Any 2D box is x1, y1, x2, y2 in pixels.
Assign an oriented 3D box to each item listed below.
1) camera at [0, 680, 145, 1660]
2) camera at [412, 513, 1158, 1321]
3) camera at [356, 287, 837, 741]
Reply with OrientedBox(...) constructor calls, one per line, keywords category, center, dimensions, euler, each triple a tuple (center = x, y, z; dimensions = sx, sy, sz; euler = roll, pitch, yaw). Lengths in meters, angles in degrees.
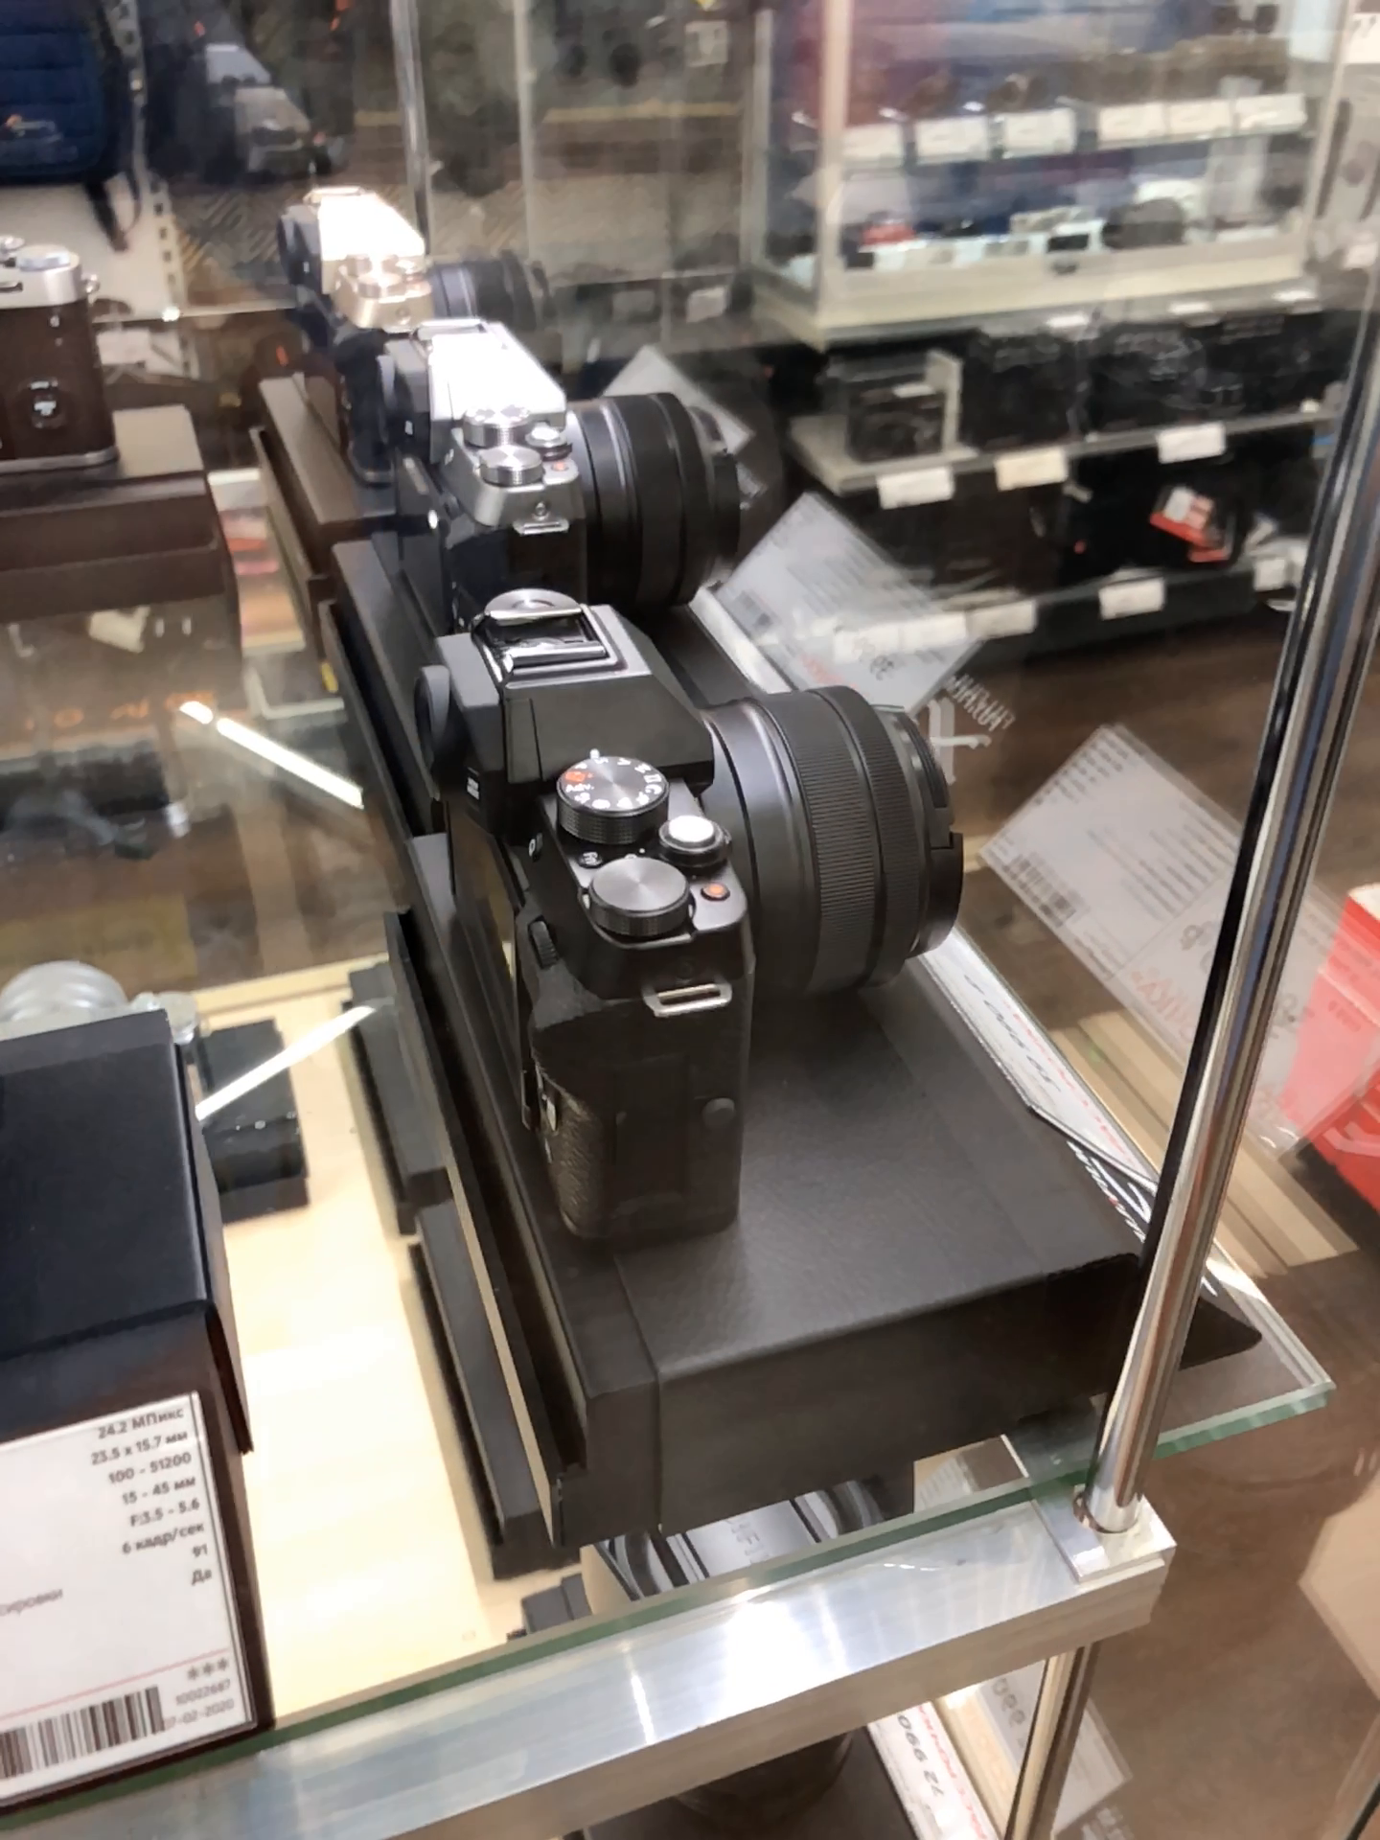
OrientedBox(category="camera", center=(-0.156, 0.026, 0.230), dimensions=(0.120, 0.069, 0.100), euler=(-12, 38, -18))
OrientedBox(category="camera", center=(0.008, -0.009, 0.296), dimensions=(0.095, 0.089, 0.121), euler=(-10, 37, -15))
OrientedBox(category="camera", center=(-0.031, -0.120, 0.432), dimensions=(0.099, 0.078, 0.121), euler=(-10, 37, -16))
